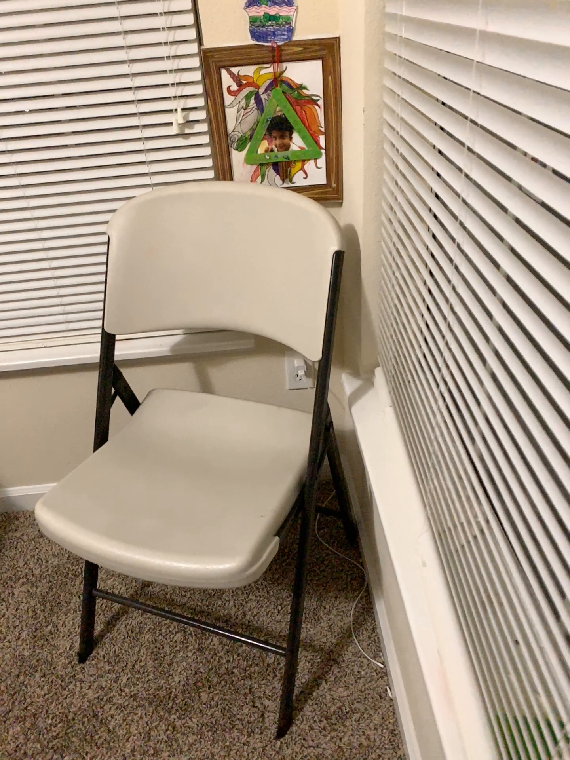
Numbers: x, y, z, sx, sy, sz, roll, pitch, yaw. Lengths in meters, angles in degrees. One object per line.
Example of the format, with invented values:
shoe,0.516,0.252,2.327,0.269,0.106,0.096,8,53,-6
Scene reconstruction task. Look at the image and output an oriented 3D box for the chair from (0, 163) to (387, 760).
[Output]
chair,-0.201,0.091,1.137,0.611,0.816,0.682,10,36,22
